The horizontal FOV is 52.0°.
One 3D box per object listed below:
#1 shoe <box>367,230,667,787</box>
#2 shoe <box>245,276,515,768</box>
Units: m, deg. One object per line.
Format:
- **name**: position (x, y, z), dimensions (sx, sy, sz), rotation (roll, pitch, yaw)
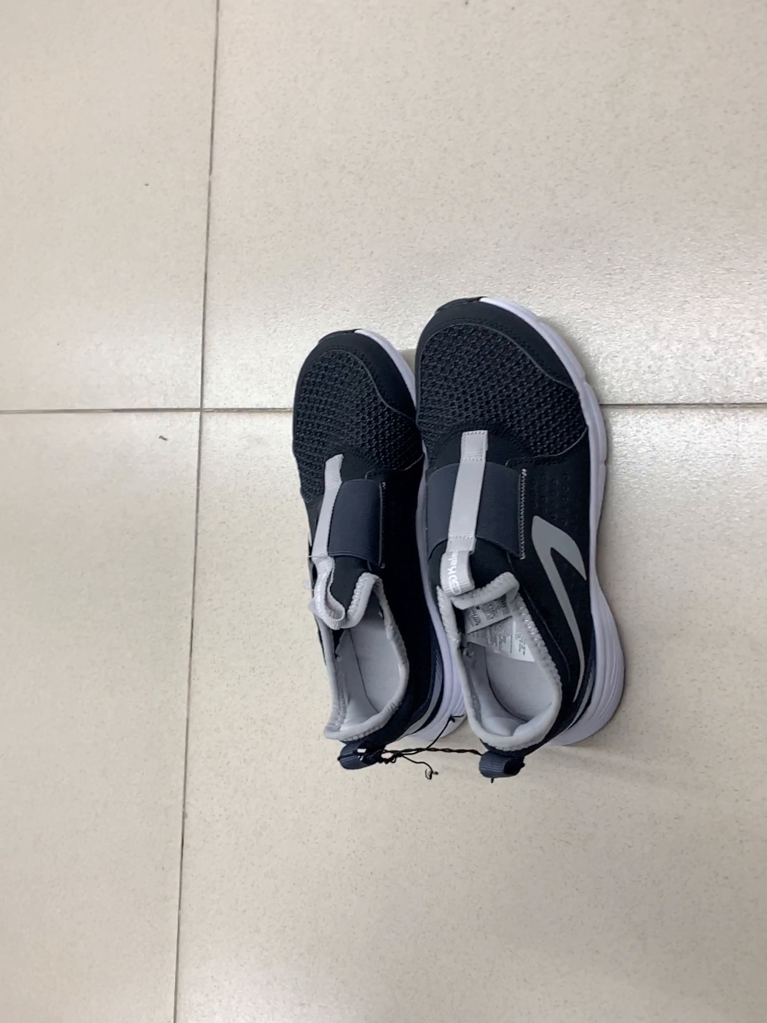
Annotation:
- **shoe**: position (0.069, 0.003, 0.405), dimensions (0.090, 0.080, 0.250), rotation (-11, 85, 31)
- **shoe**: position (-0.002, 0.009, 0.451), dimensions (0.090, 0.080, 0.250), rotation (-11, 85, 31)
